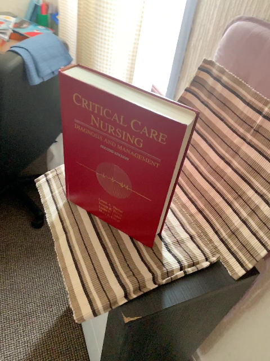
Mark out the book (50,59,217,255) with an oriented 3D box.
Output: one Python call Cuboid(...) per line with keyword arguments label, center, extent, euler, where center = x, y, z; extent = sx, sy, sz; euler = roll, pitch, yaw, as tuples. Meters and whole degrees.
Cuboid(label="book", center=(-0.025, -0.028, 0.499), extent=(0.251, 0.287, 0.061), euler=(27, 46, 18))
